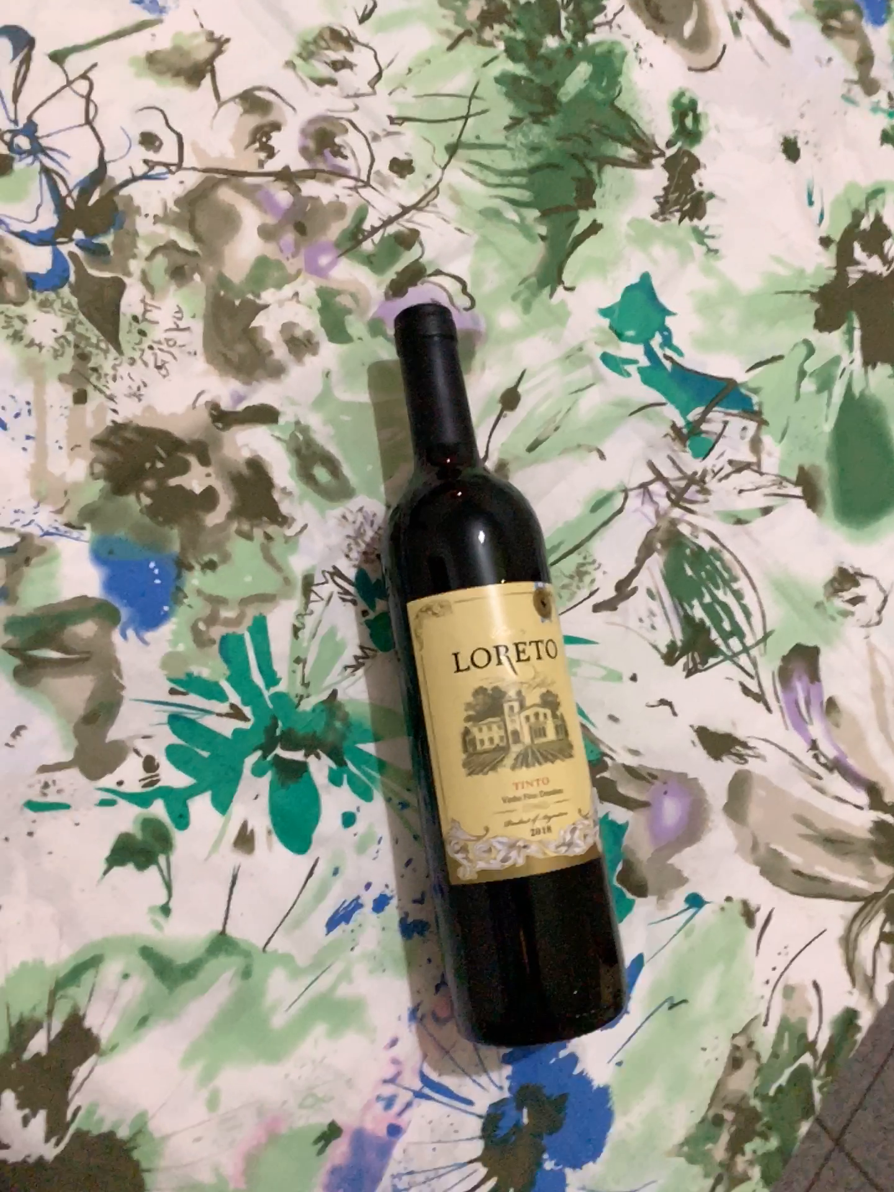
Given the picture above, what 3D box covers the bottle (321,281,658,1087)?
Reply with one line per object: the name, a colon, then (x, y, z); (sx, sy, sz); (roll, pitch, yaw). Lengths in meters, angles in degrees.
bottle: (0.012, 0.025, 0.386); (0.080, 0.050, 0.310); (-6, 81, -21)
